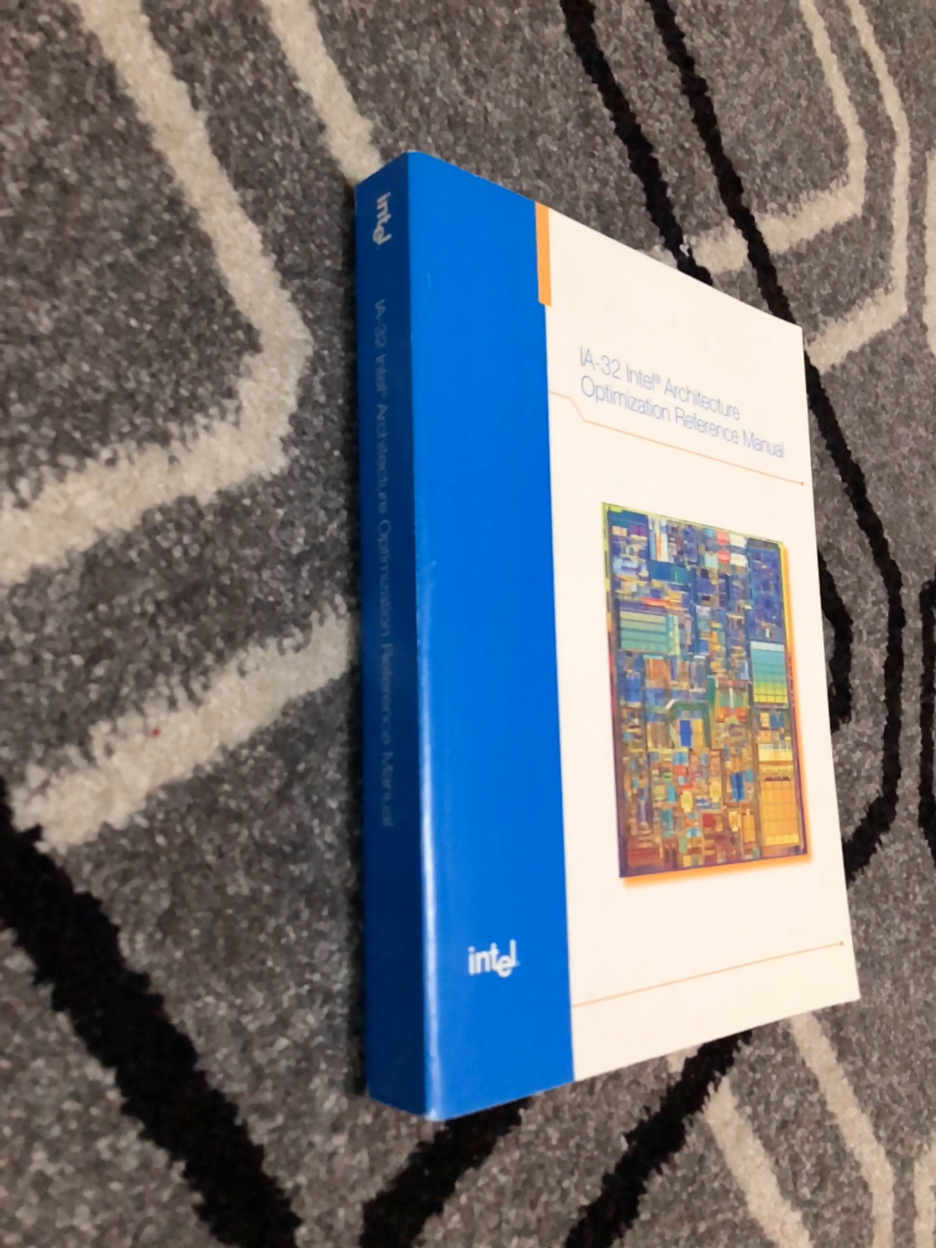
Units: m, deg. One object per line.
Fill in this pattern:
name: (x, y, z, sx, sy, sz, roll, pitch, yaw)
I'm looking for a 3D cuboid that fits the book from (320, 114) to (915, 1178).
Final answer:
book: (0.046, 0.004, 0.272, 0.171, 0.040, 0.210, 5, 79, -40)
